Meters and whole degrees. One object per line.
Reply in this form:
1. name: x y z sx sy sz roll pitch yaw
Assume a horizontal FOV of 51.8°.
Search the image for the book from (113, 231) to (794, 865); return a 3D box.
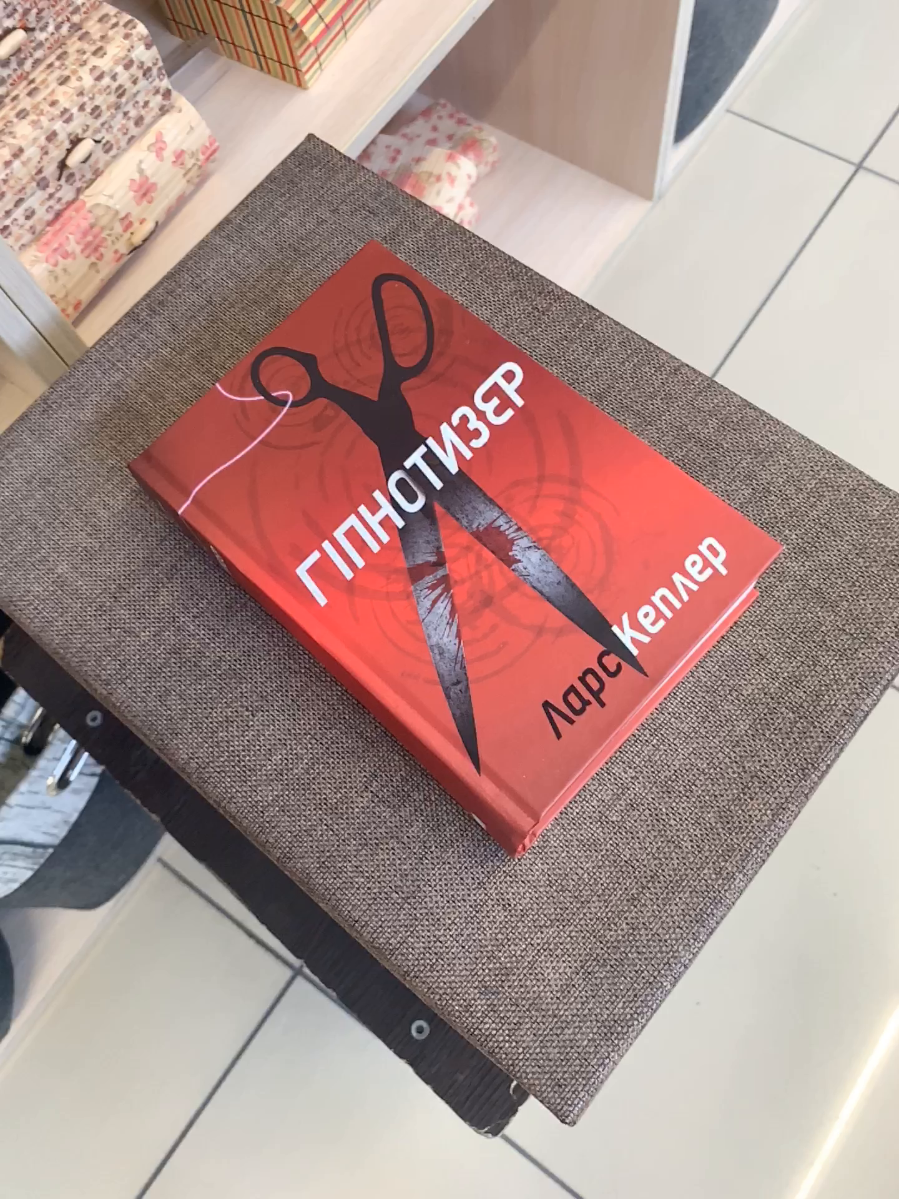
1. book: -0.002 -0.022 0.341 0.195 0.060 0.131 41 81 17
